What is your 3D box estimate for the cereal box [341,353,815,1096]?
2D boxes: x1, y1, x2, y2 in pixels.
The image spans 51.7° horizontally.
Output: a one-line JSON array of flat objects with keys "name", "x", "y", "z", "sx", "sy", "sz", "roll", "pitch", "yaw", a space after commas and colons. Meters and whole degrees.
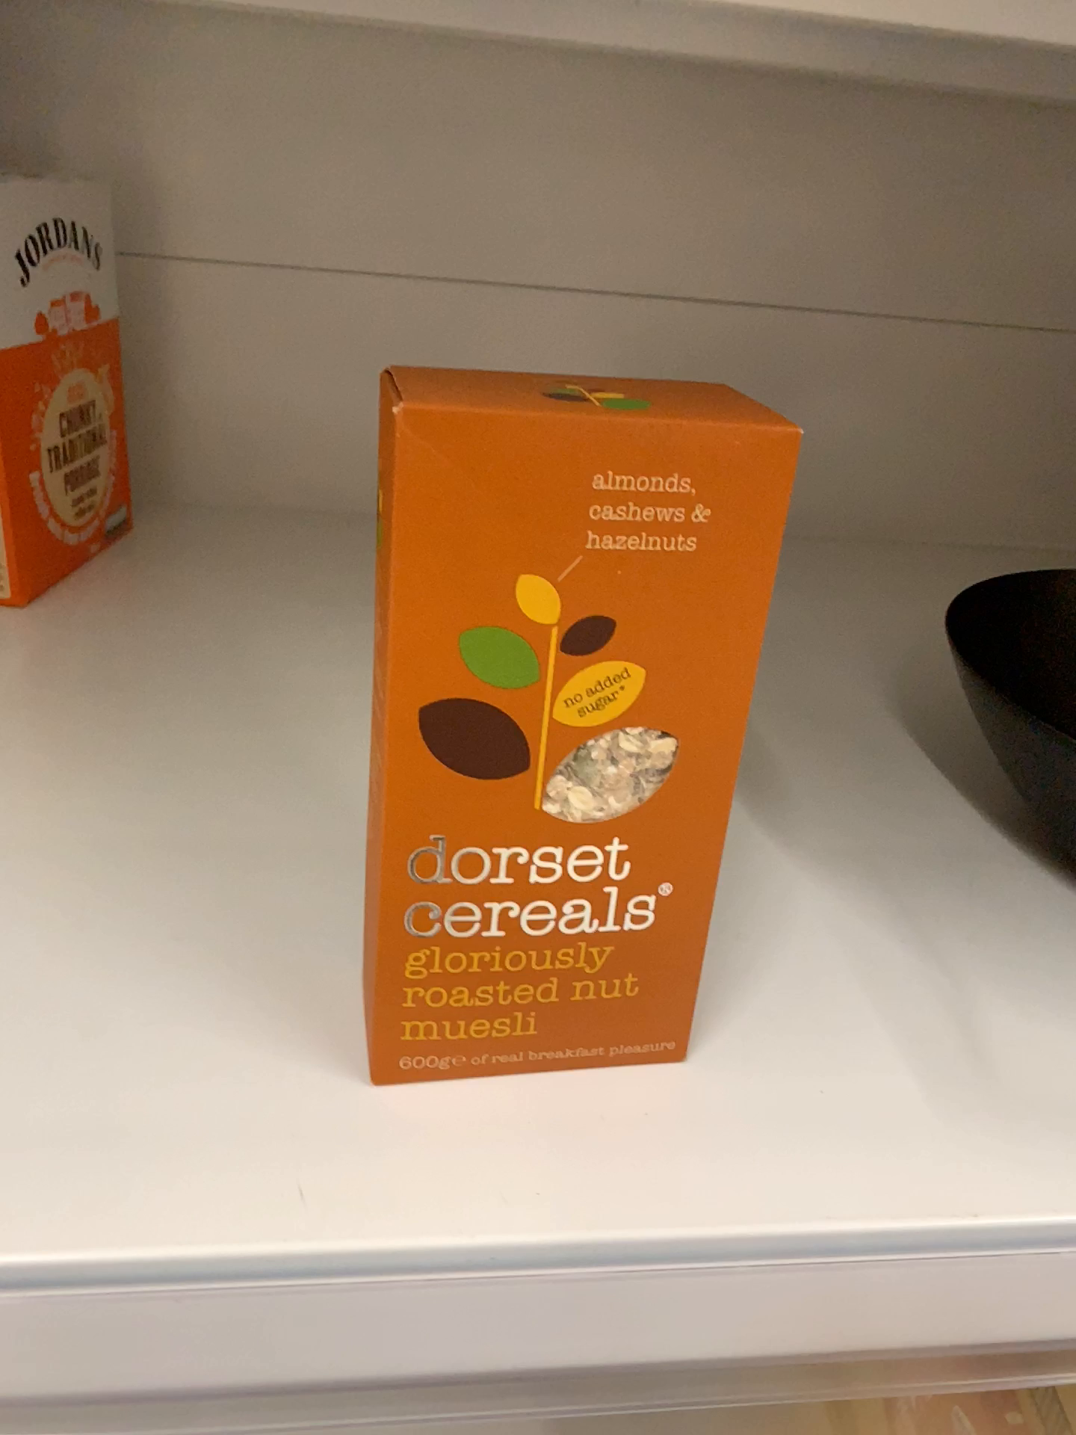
[{"name": "cereal box", "x": 0.000, "y": 0.009, "z": 0.360, "sx": 0.120, "sy": 0.228, "sz": 0.060, "roll": -1, "pitch": 26, "yaw": -13}]
